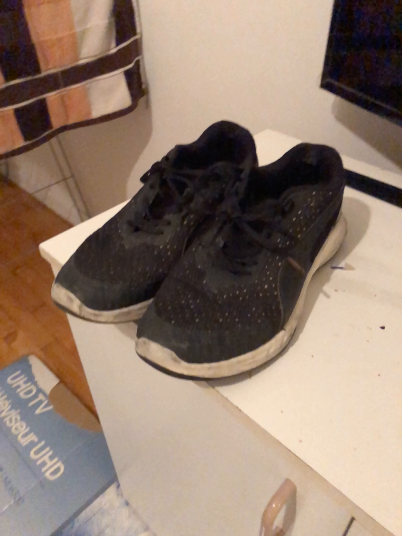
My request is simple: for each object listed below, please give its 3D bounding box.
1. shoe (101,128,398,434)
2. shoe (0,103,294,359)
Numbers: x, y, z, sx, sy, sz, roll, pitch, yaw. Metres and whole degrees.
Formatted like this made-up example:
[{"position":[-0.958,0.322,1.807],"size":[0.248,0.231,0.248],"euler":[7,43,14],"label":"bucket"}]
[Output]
[{"position":[0.067,-0.019,0.422],"size":[0.120,0.099,0.310],"euler":[24,46,27],"label":"shoe"},{"position":[-0.031,-0.066,0.468],"size":[0.120,0.099,0.310],"euler":[24,46,27],"label":"shoe"}]
